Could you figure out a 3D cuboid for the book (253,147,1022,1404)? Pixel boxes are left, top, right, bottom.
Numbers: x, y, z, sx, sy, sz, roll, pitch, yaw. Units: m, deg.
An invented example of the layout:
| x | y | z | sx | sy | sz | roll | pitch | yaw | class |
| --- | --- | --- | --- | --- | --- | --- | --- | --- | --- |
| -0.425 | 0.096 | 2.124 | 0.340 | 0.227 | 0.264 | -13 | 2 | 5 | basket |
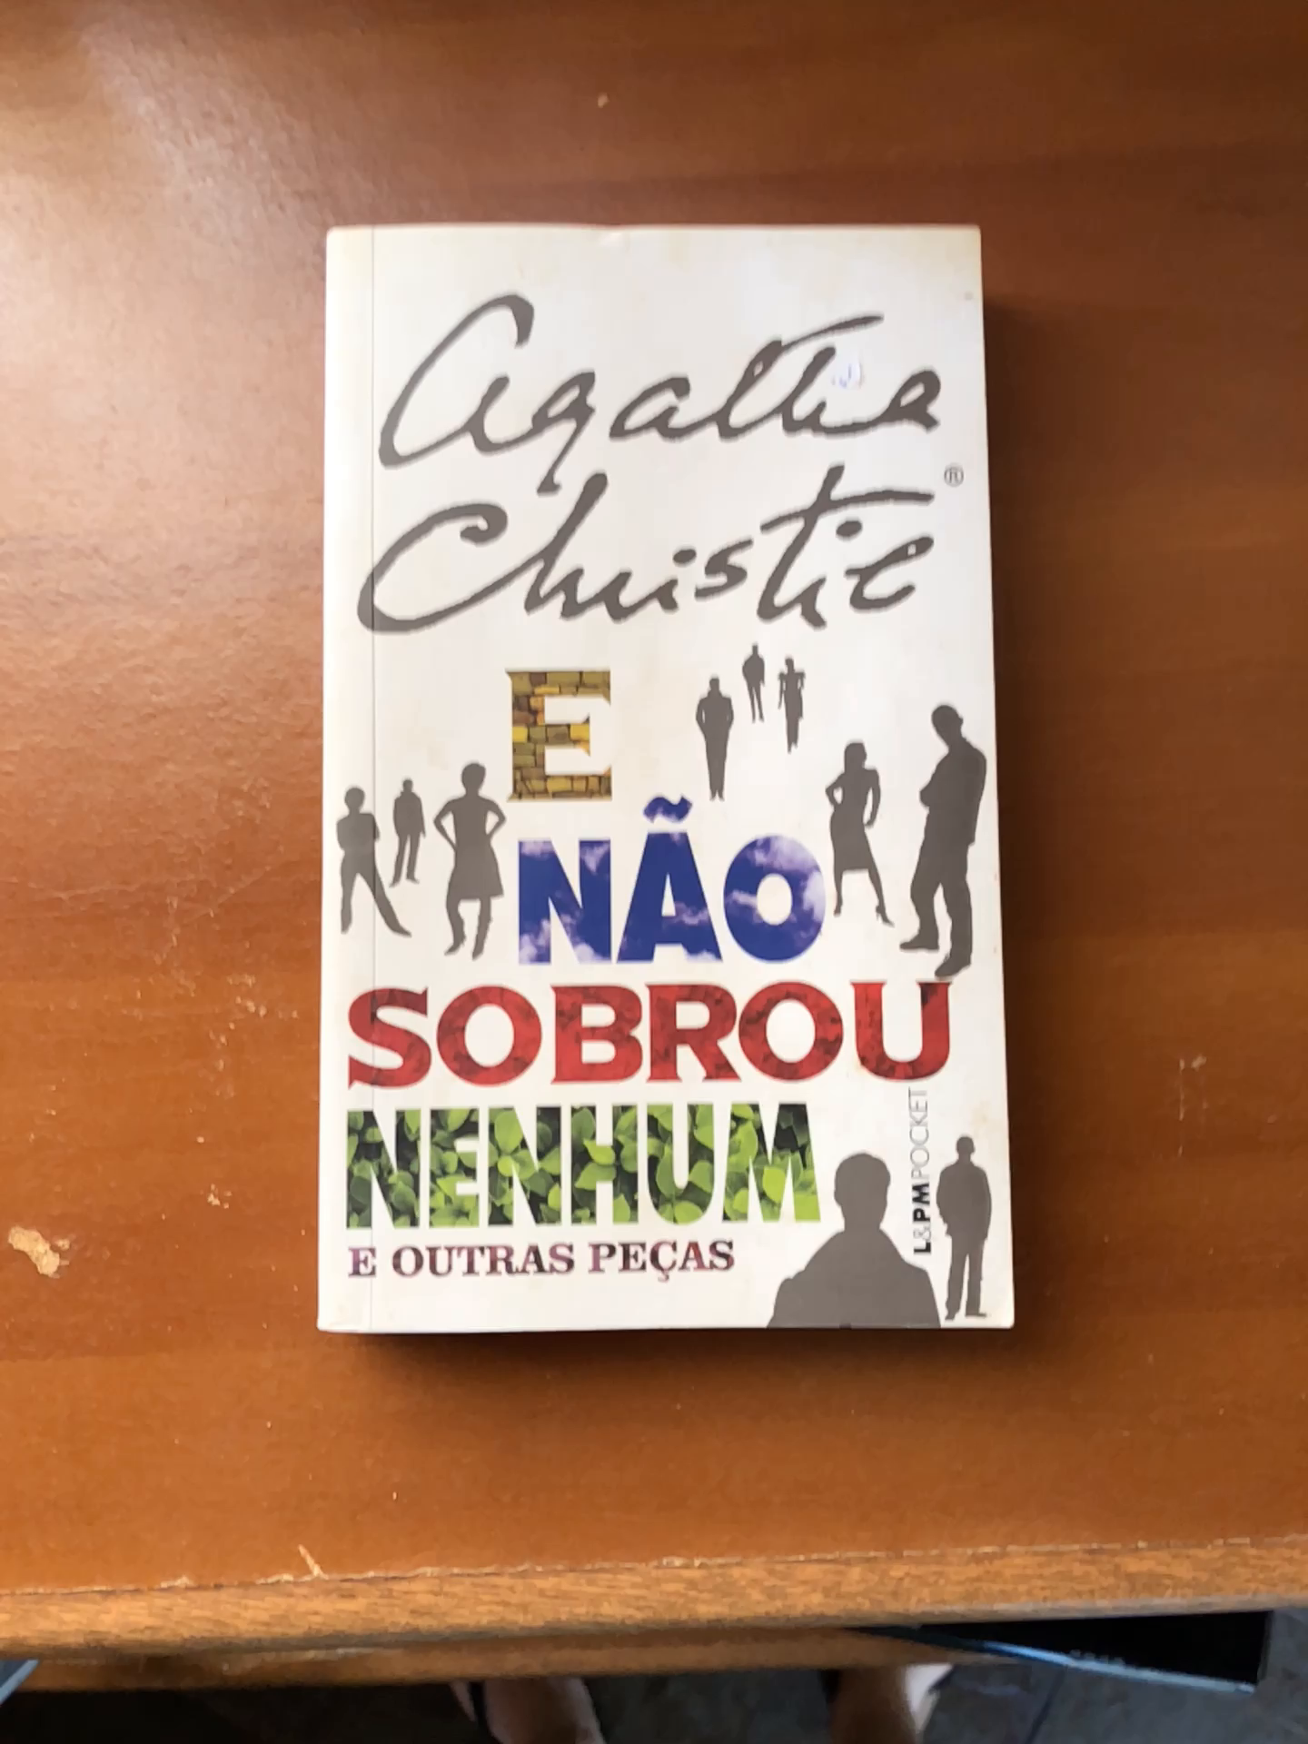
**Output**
| x | y | z | sx | sy | sz | roll | pitch | yaw | class |
| --- | --- | --- | --- | --- | --- | --- | --- | --- | --- |
| -0.002 | -0.016 | 0.227 | 0.110 | 0.024 | 0.186 | 0 | 86 | 2 | book |
